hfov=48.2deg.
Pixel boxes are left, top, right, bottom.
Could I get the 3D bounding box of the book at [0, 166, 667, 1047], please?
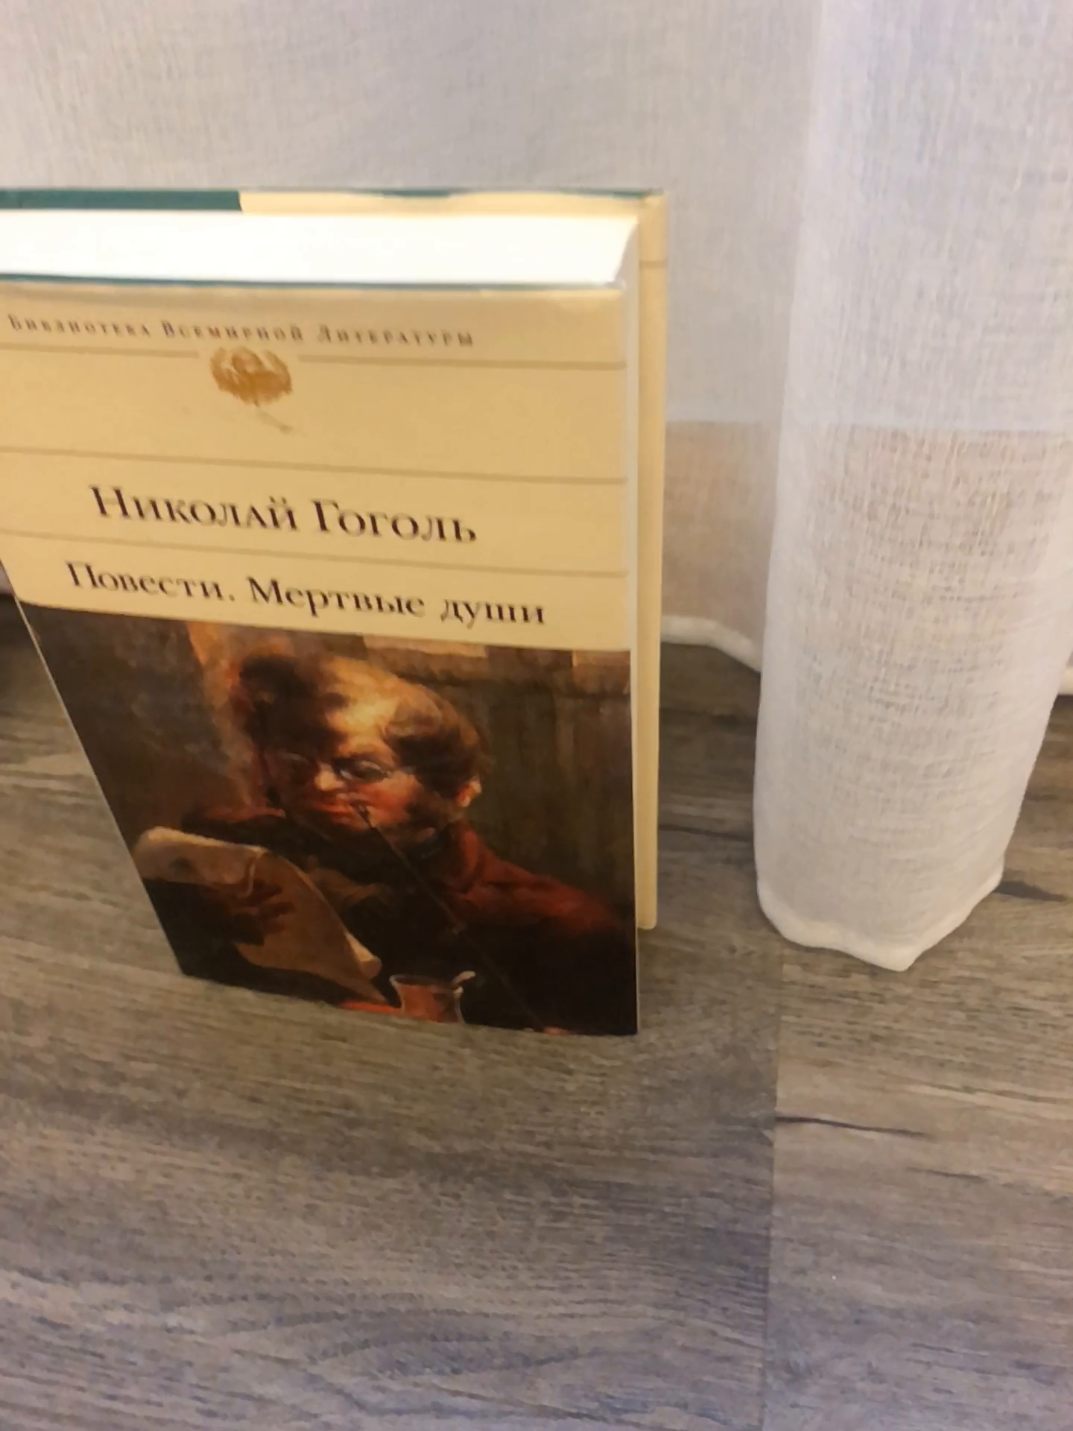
[{"bbox_3d":[-0.041,-0.009,0.273,0.133,0.209,0.041,5,44,10],"label":"book"}]
